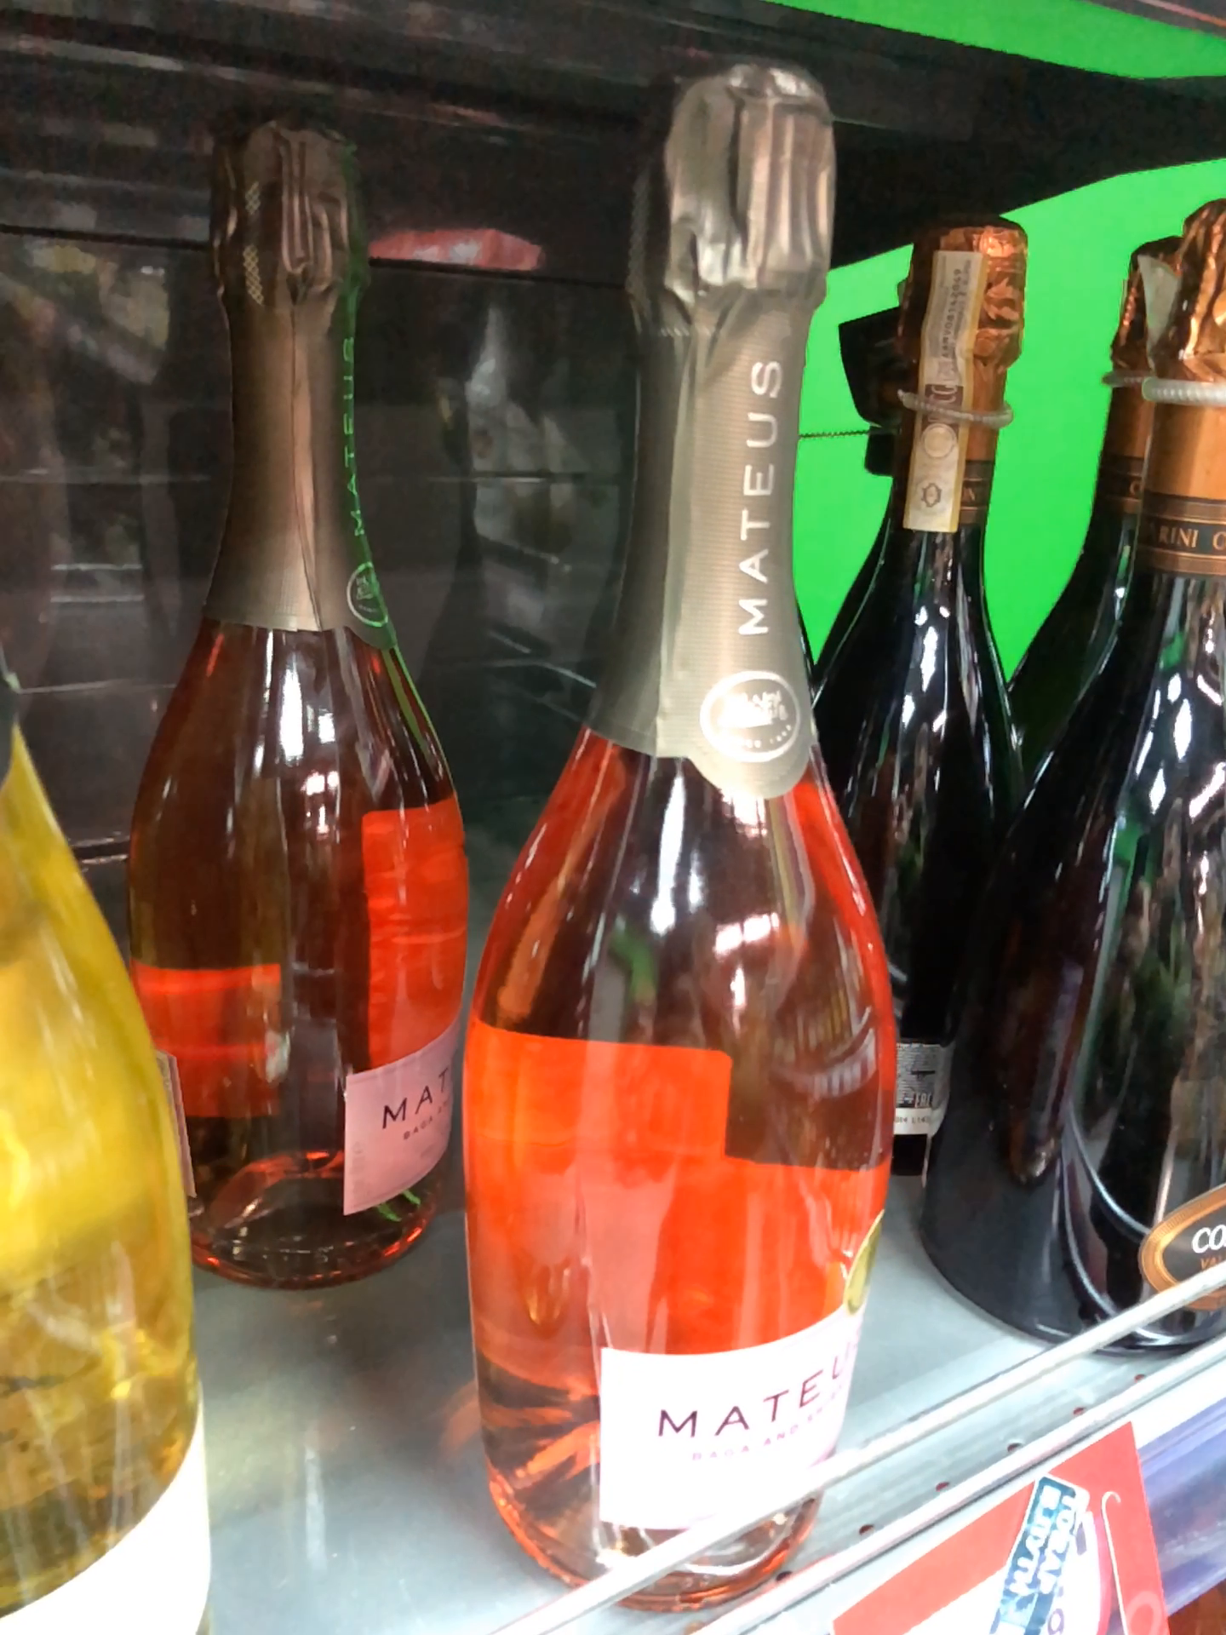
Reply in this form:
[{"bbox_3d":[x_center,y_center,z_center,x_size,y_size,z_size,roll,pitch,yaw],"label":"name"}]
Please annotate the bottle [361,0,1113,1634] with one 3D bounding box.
[{"bbox_3d":[0.011,0.015,0.289,0.100,0.319,0.090,-8,21,-32],"label":"bottle"}]
